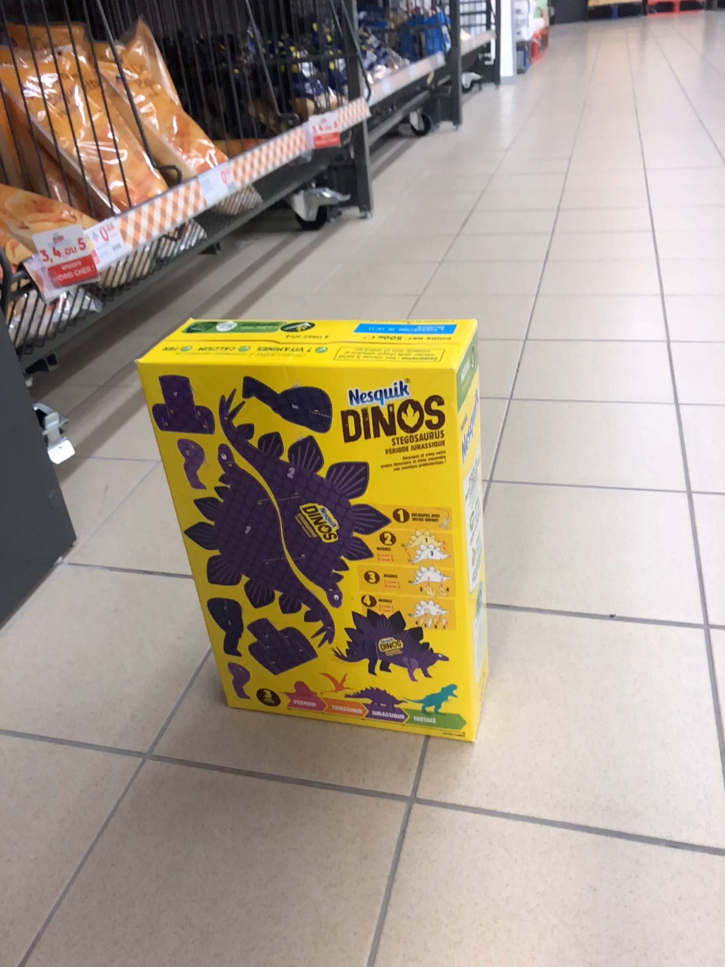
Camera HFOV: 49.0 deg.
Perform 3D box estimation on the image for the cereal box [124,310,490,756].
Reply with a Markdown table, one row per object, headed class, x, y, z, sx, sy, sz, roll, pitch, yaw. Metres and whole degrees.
| class | x | y | z | sx | sy | sz | roll | pitch | yaw |
| --- | --- | --- | --- | --- | --- | --- | --- | --- | --- |
| cereal box | -0.020 | 0.039 | 0.538 | 0.200 | 0.298 | 0.070 | 4 | 32 | 15 |
